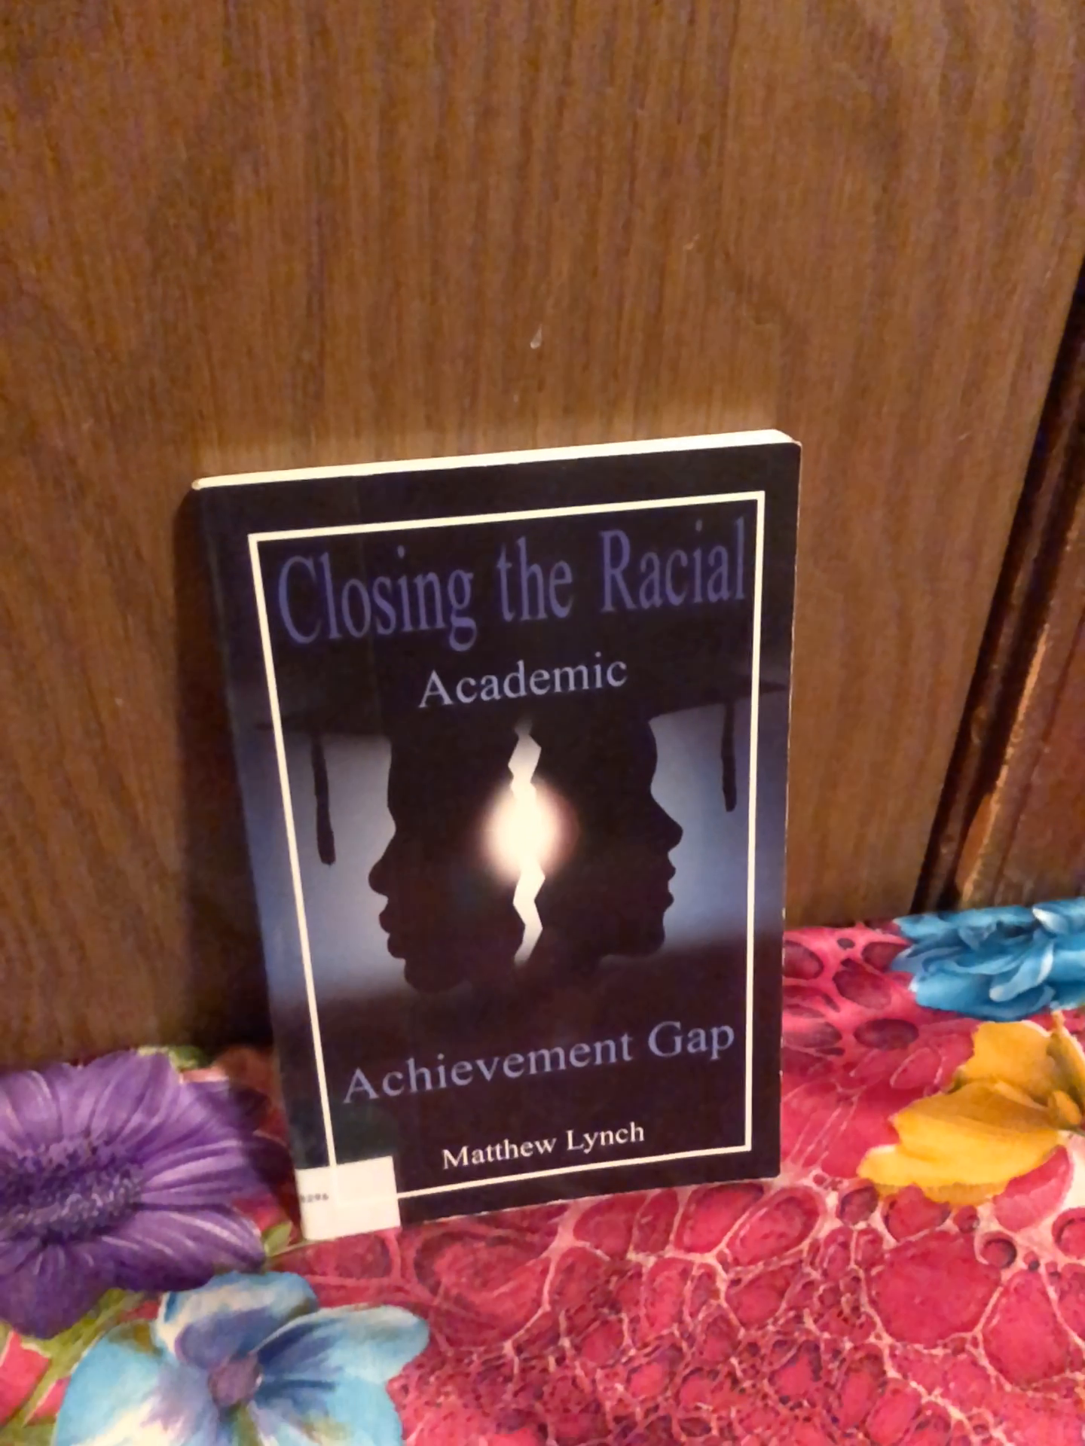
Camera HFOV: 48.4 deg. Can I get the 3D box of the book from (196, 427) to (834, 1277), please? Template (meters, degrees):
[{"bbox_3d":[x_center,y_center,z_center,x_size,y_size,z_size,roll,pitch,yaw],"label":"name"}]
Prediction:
[{"bbox_3d":[-0.003,0.042,0.333,0.146,0.230,0.036,-6,24,-9],"label":"book"}]
